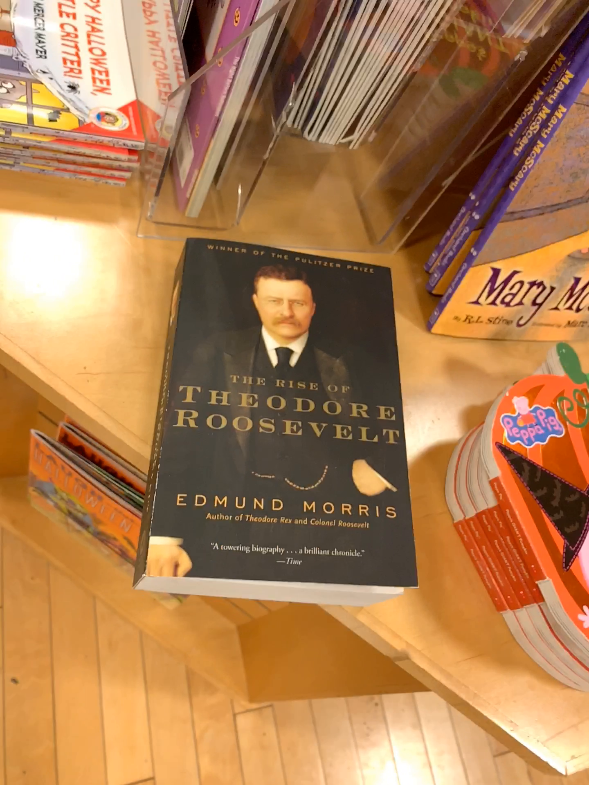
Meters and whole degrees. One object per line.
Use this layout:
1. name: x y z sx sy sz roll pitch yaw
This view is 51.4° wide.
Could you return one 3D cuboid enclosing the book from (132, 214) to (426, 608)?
1. book: -0.008 0.011 0.347 0.130 0.066 0.195 11 60 -18
